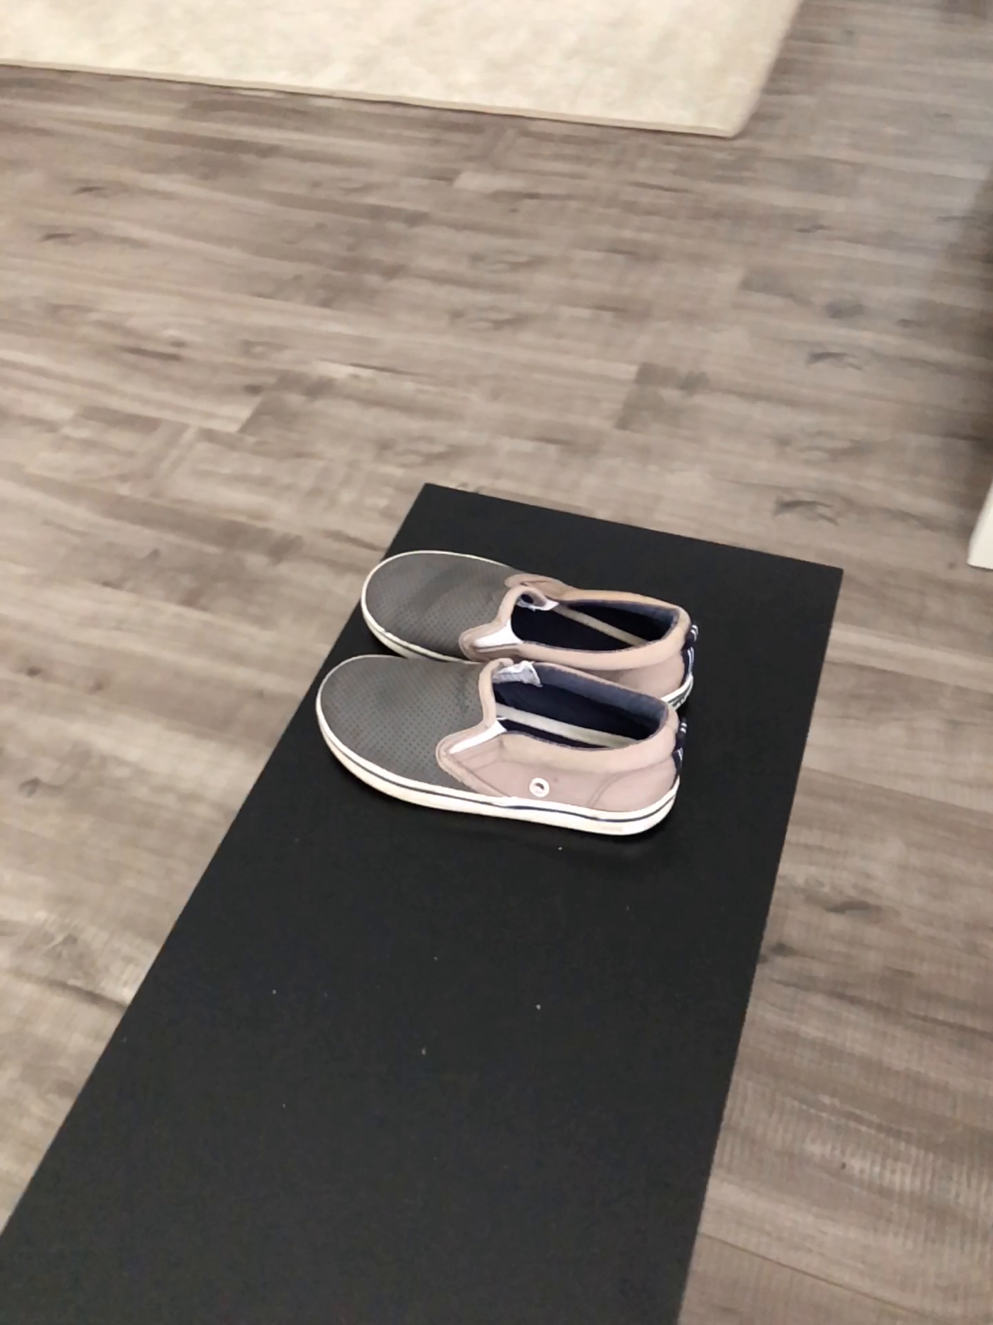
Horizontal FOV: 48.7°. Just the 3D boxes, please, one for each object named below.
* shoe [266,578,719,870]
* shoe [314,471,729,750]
[{"bbox_3d":[0.001,0.027,0.520,0.190,0.070,0.077,11,52,14],"label":"shoe"},{"bbox_3d":[0.014,-0.030,0.568,0.190,0.070,0.077,14,53,16],"label":"shoe"}]
